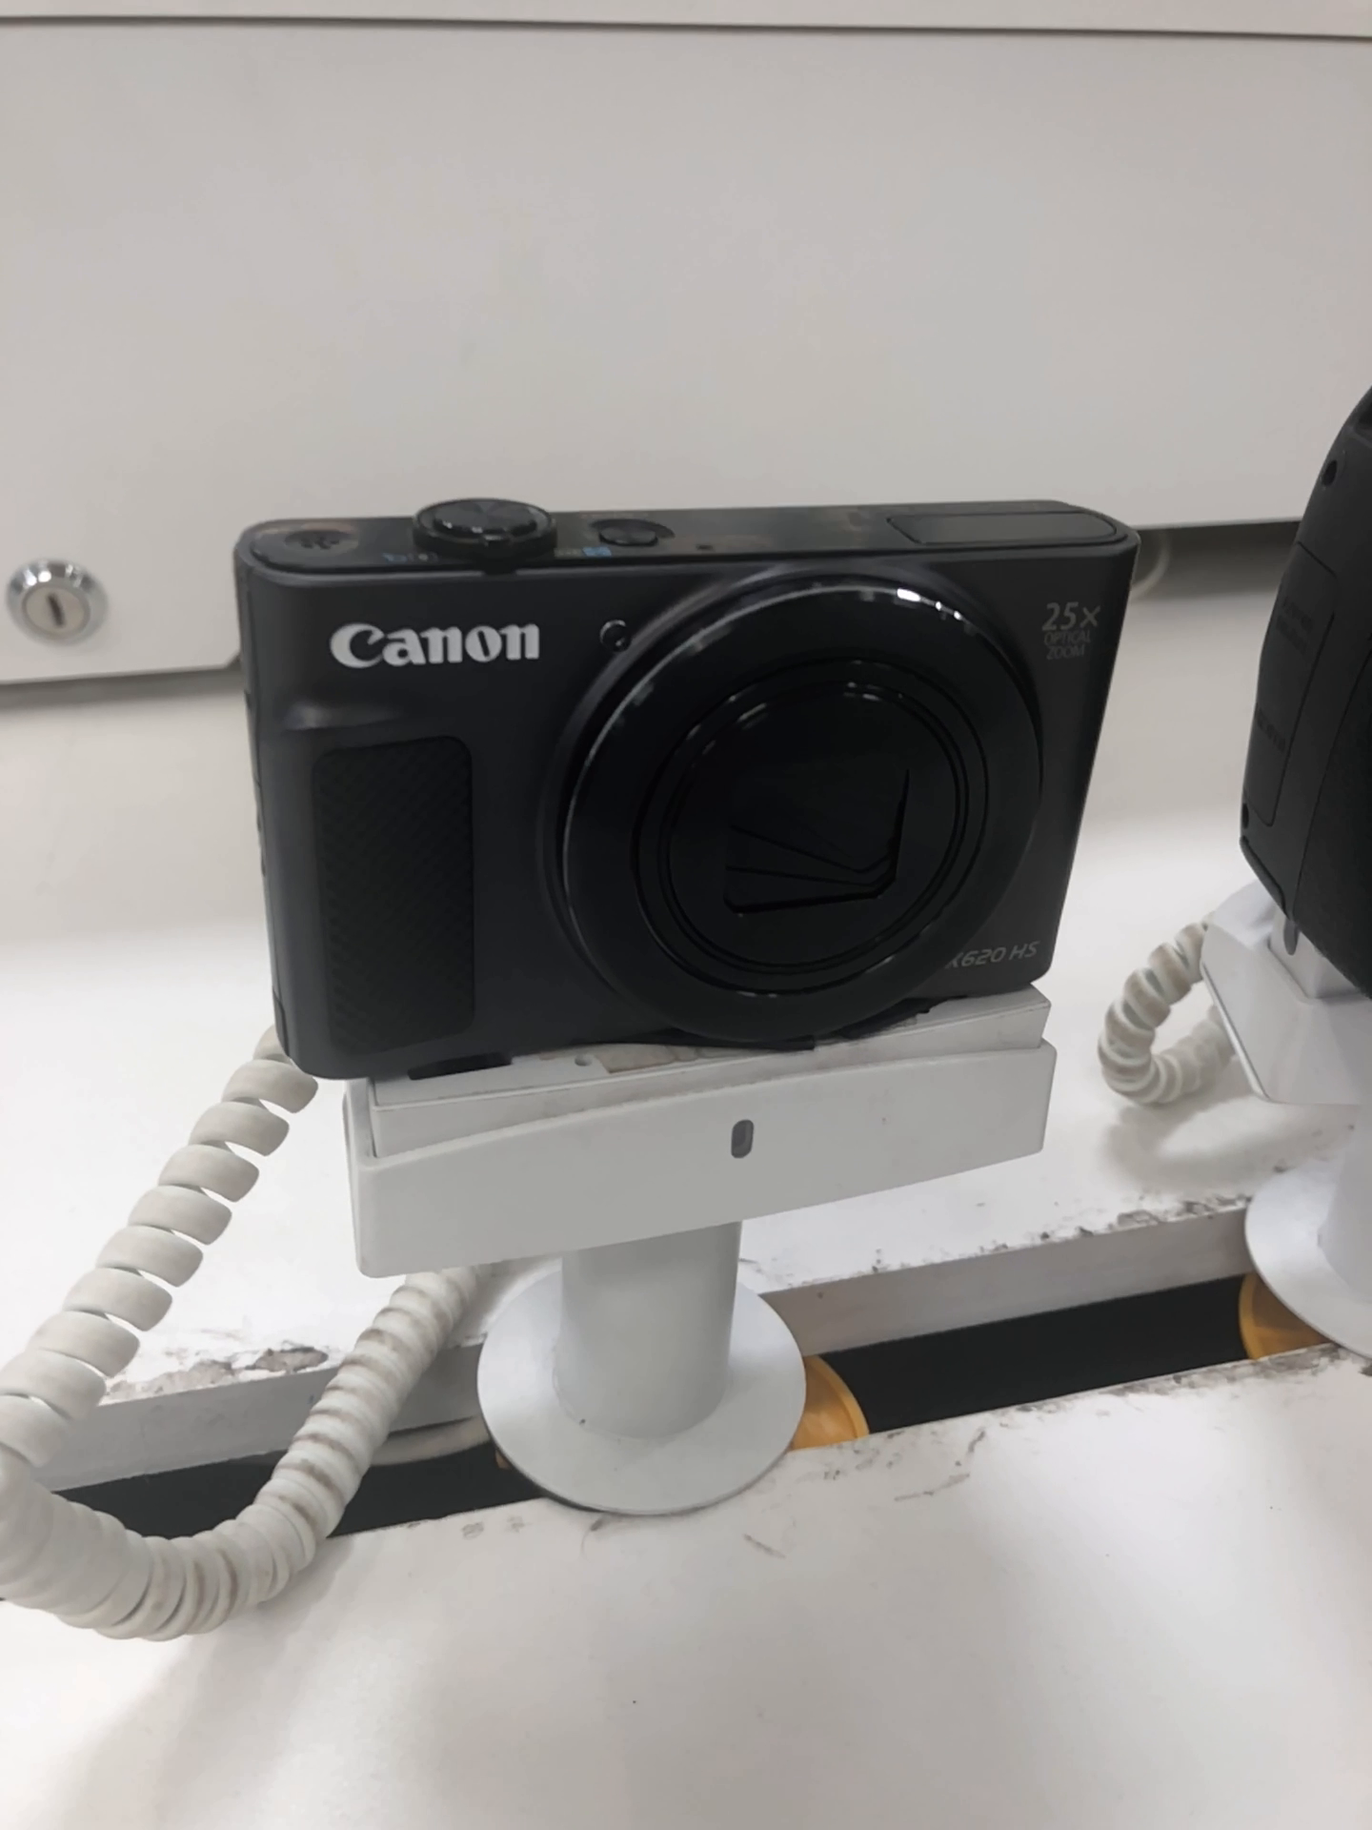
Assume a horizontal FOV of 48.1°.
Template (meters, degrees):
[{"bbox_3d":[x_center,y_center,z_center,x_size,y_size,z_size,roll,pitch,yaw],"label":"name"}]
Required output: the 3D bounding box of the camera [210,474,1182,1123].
[{"bbox_3d":[0.000,-0.014,0.168,0.093,0.057,0.025,-7,35,-16],"label":"camera"}]
